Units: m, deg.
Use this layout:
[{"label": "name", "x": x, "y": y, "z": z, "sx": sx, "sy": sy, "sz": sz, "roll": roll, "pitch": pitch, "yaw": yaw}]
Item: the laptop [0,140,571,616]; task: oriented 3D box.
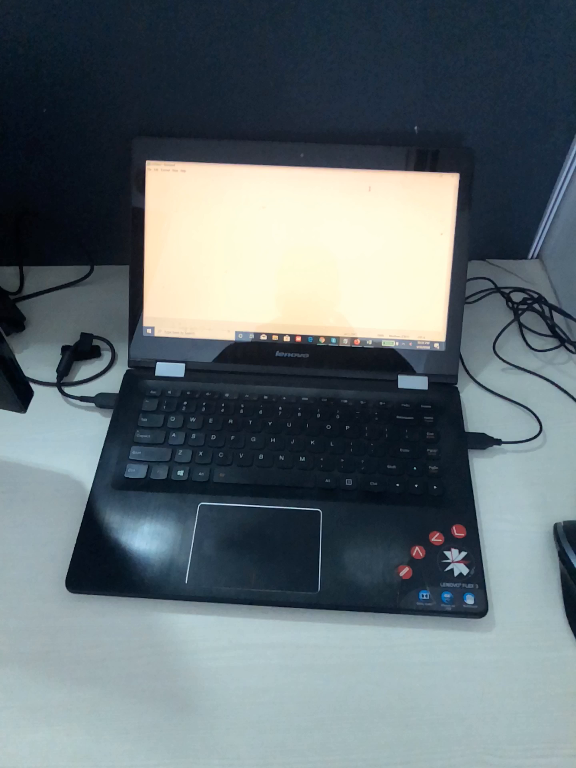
[{"label": "laptop", "x": 0.002, "y": -0.030, "z": 0.556, "sx": 0.334, "sy": 0.171, "sz": 0.387, "roll": 3, "pitch": 49, "yaw": 2}]
